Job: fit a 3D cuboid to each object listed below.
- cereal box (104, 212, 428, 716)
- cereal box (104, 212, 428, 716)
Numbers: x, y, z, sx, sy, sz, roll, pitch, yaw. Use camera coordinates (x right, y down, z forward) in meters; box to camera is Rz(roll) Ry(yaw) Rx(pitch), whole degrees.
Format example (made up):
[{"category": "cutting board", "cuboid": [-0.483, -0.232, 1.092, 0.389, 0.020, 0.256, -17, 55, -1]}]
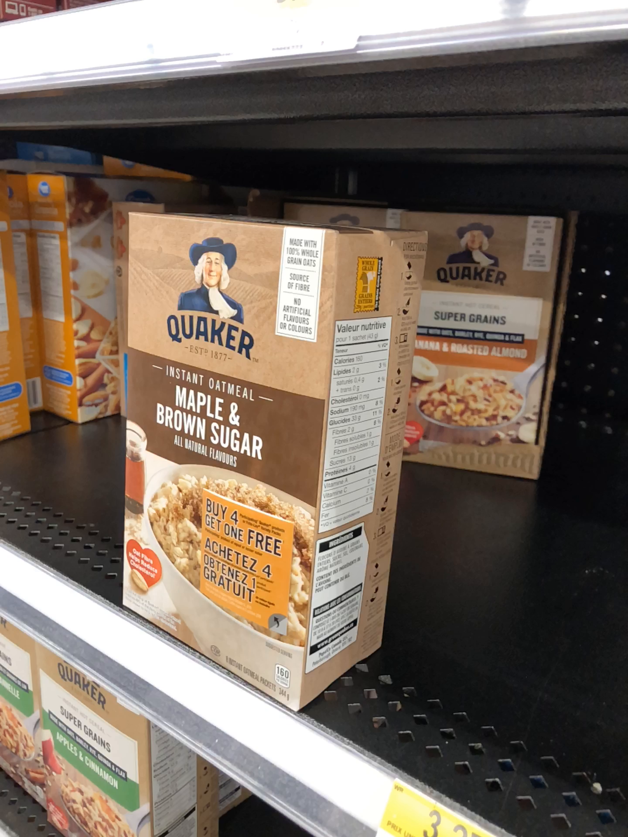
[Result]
[{"category": "cereal box", "cuboid": [-0.030, 0.009, 0.317, 0.130, 0.189, 0.060, 16, 20, 37]}, {"category": "cereal box", "cuboid": [-0.030, 0.009, 0.317, 0.130, 0.189, 0.060, 16, 20, 37]}]
